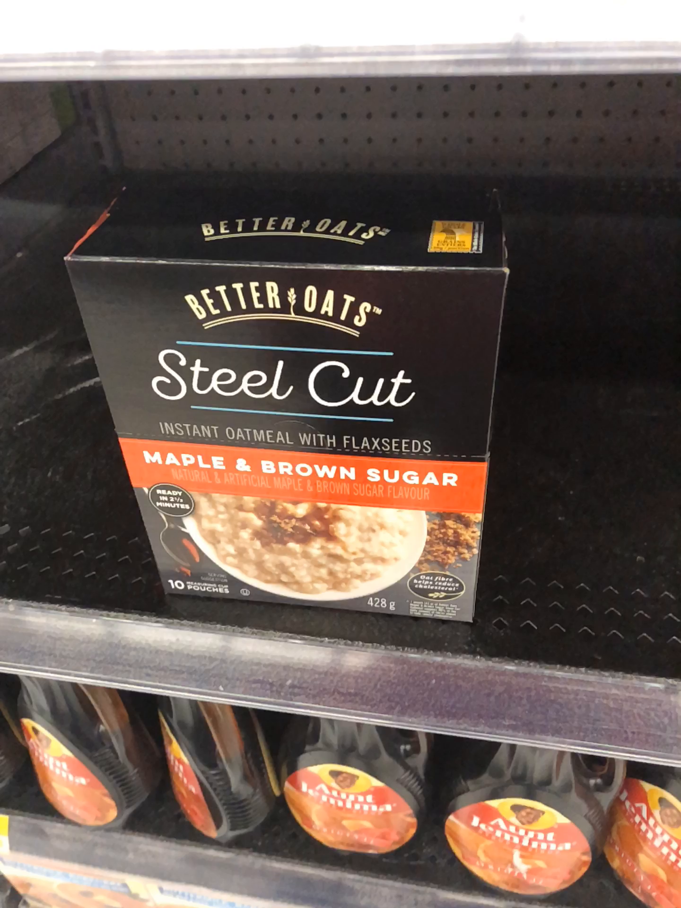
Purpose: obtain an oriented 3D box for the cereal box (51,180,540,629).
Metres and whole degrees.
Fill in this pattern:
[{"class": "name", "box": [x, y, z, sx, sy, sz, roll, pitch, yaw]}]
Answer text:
[{"class": "cereal box", "box": [-0.008, -0.015, 0.327, 0.160, 0.179, 0.070, 3, 41, 9]}]
